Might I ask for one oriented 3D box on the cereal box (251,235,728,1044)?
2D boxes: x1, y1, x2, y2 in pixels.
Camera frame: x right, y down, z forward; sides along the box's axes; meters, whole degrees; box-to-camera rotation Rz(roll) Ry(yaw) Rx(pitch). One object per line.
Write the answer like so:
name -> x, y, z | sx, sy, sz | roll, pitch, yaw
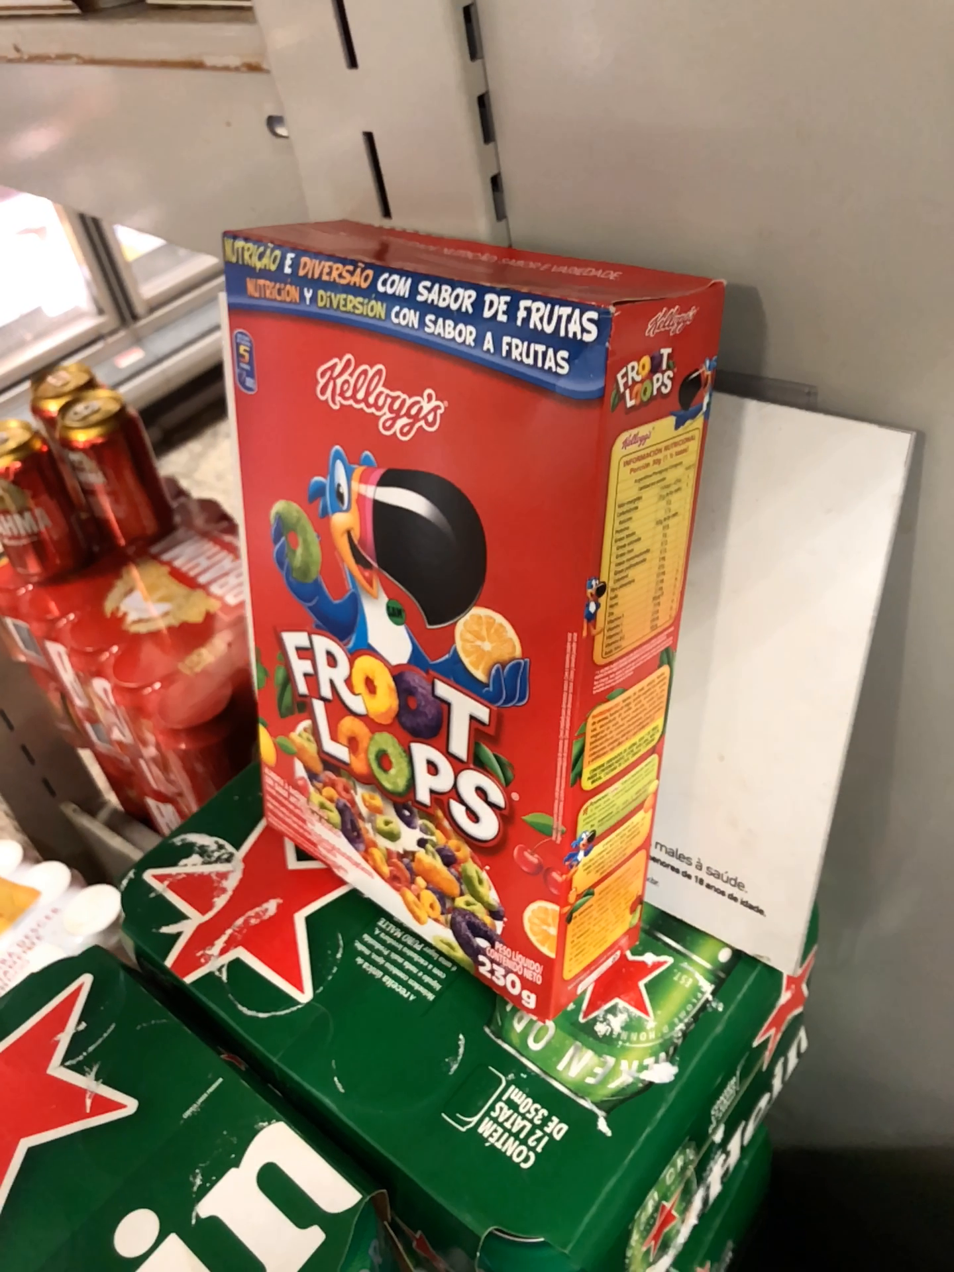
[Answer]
cereal box -> -0.007, -0.001, 0.394 | 0.151, 0.258, 0.060 | 25, 35, 37
